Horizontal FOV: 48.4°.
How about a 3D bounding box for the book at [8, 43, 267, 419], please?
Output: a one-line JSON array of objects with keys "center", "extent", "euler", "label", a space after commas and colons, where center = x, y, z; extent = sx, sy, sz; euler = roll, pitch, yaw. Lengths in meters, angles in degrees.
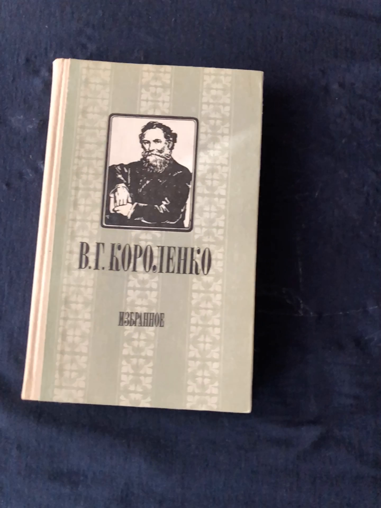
[{"center": [-0.026, -0.017, 0.256], "extent": [0.132, 0.030, 0.209], "euler": [3, 83, -1], "label": "book"}]
